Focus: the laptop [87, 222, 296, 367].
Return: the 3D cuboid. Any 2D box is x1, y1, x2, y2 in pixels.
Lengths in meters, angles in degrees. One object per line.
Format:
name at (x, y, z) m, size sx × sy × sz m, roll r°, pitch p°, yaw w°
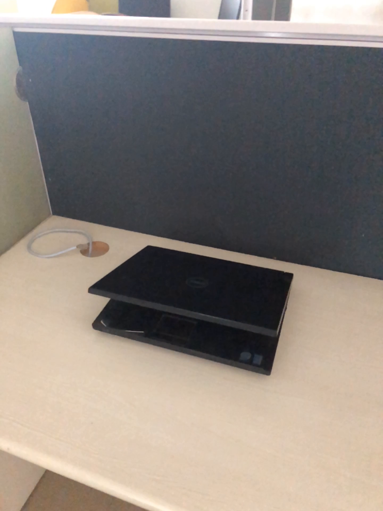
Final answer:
laptop at (0.012, 0.051, 0.753) m, size 0.302 × 0.064 × 0.231 m, roll 11°, pitch 38°, yaw 16°
